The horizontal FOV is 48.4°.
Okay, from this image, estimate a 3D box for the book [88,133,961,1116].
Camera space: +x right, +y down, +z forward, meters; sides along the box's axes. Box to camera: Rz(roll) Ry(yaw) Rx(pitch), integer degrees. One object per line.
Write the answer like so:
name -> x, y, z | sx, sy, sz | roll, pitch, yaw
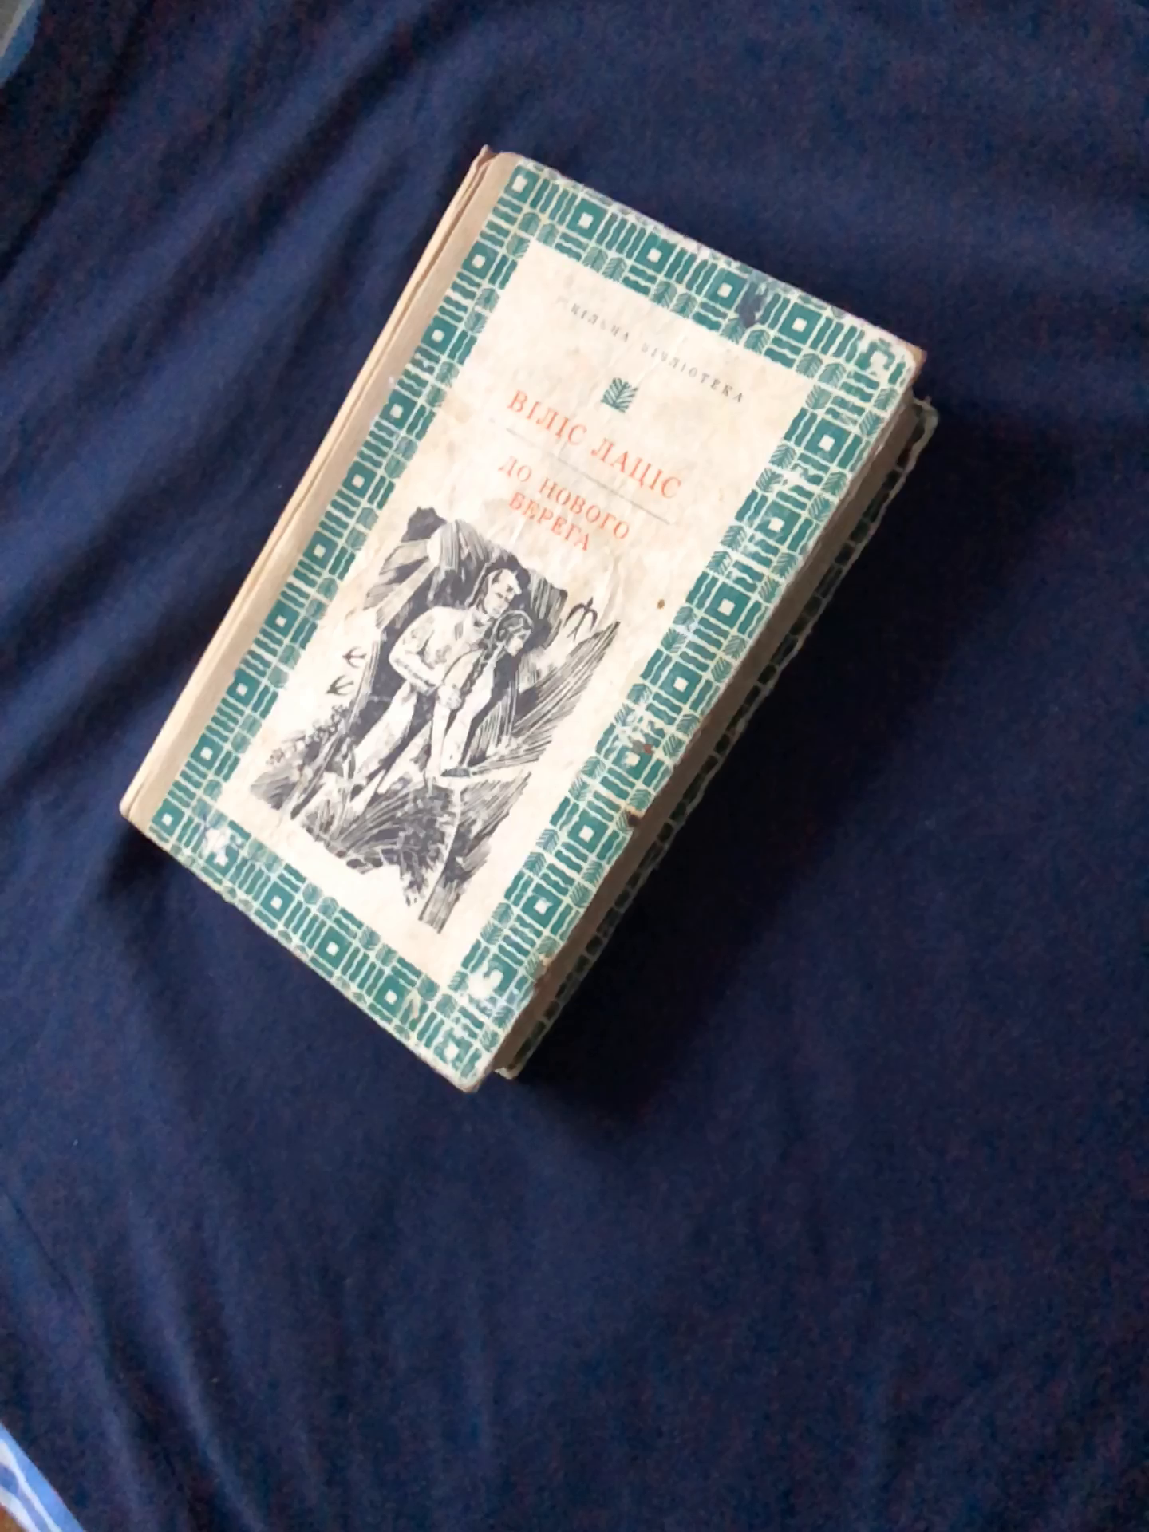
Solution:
book -> -0.018, -0.037, 0.326 | 0.134, 0.040, 0.201 | 34, 96, 21
